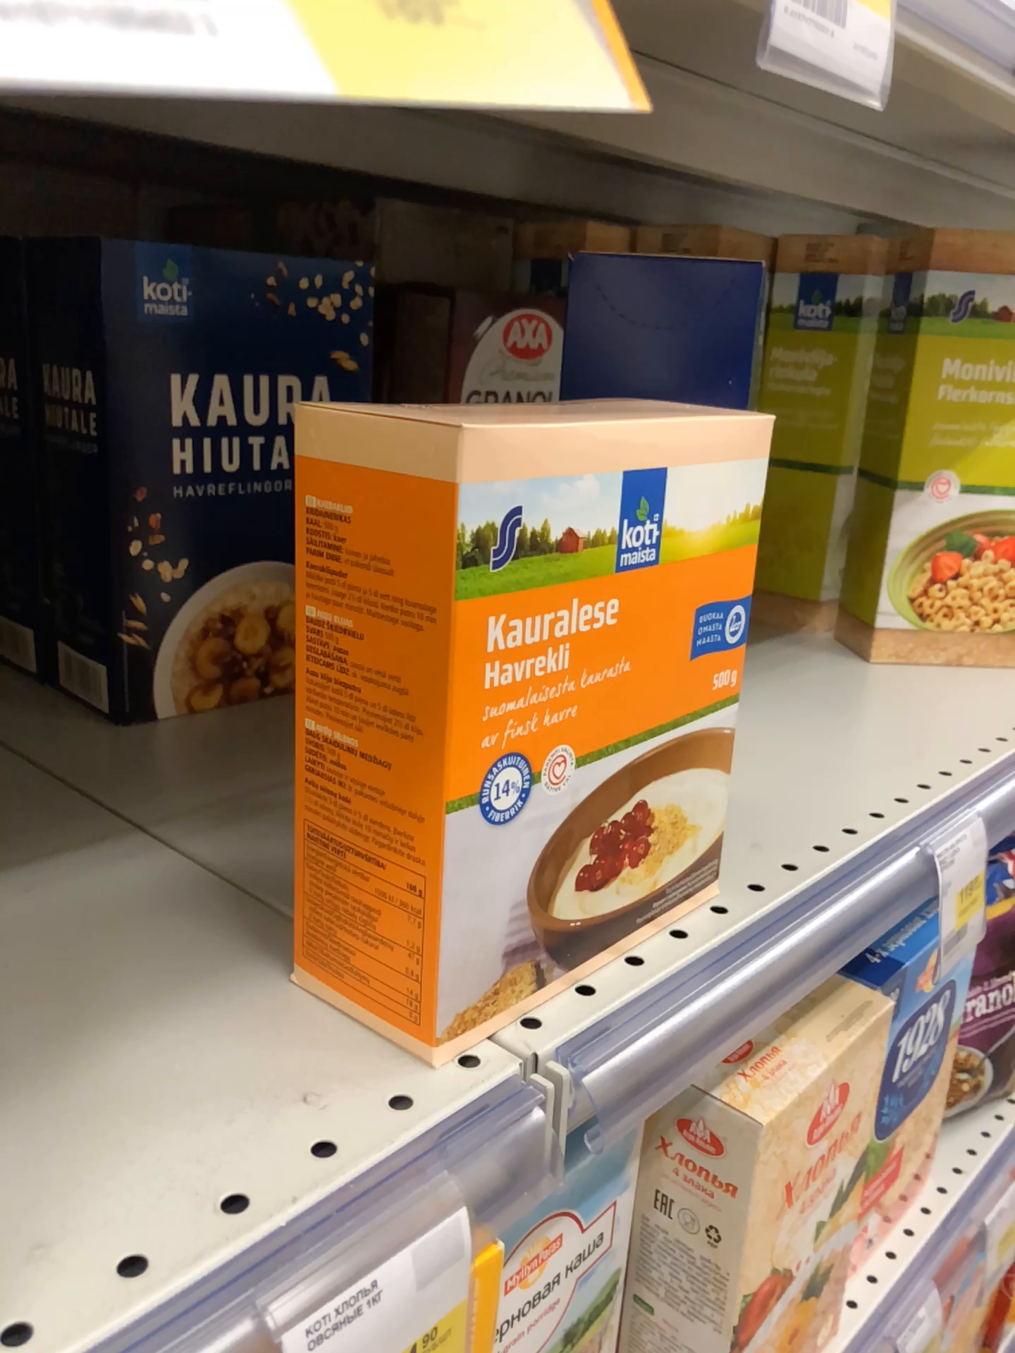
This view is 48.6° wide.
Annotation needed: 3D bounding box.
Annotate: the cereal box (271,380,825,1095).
[{"bbox_3d":[0.016,0.001,0.339,0.070,0.169,0.160,17,21,38],"label":"cereal box"}]
